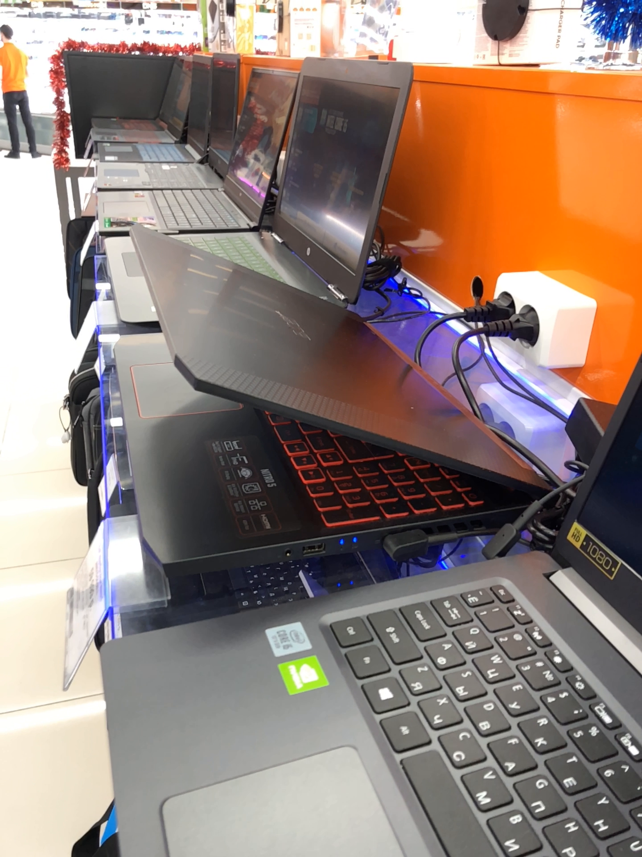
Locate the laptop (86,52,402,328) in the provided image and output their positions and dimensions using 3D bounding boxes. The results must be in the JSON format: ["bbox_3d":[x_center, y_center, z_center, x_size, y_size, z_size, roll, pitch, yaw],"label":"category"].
[{"bbox_3d":[-0.121,-0.324,0.903,0.310,0.250,0.416,-6,27,-17],"label":"laptop"}]

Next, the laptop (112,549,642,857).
[{"bbox_3d":[0.066,0.289,0.392,0.296,0.221,0.406,-6,27,-18],"label":"laptop"}]

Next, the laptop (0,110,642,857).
[{"bbox_3d":[0.101,0.052,0.180,0.312,0.226,0.344,-7,28,-18],"label":"laptop"}]

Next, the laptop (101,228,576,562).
[{"bbox_3d":[-0.028,-0.065,0.550,0.248,0.103,0.359,-6,28,-17],"label":"laptop"}]
